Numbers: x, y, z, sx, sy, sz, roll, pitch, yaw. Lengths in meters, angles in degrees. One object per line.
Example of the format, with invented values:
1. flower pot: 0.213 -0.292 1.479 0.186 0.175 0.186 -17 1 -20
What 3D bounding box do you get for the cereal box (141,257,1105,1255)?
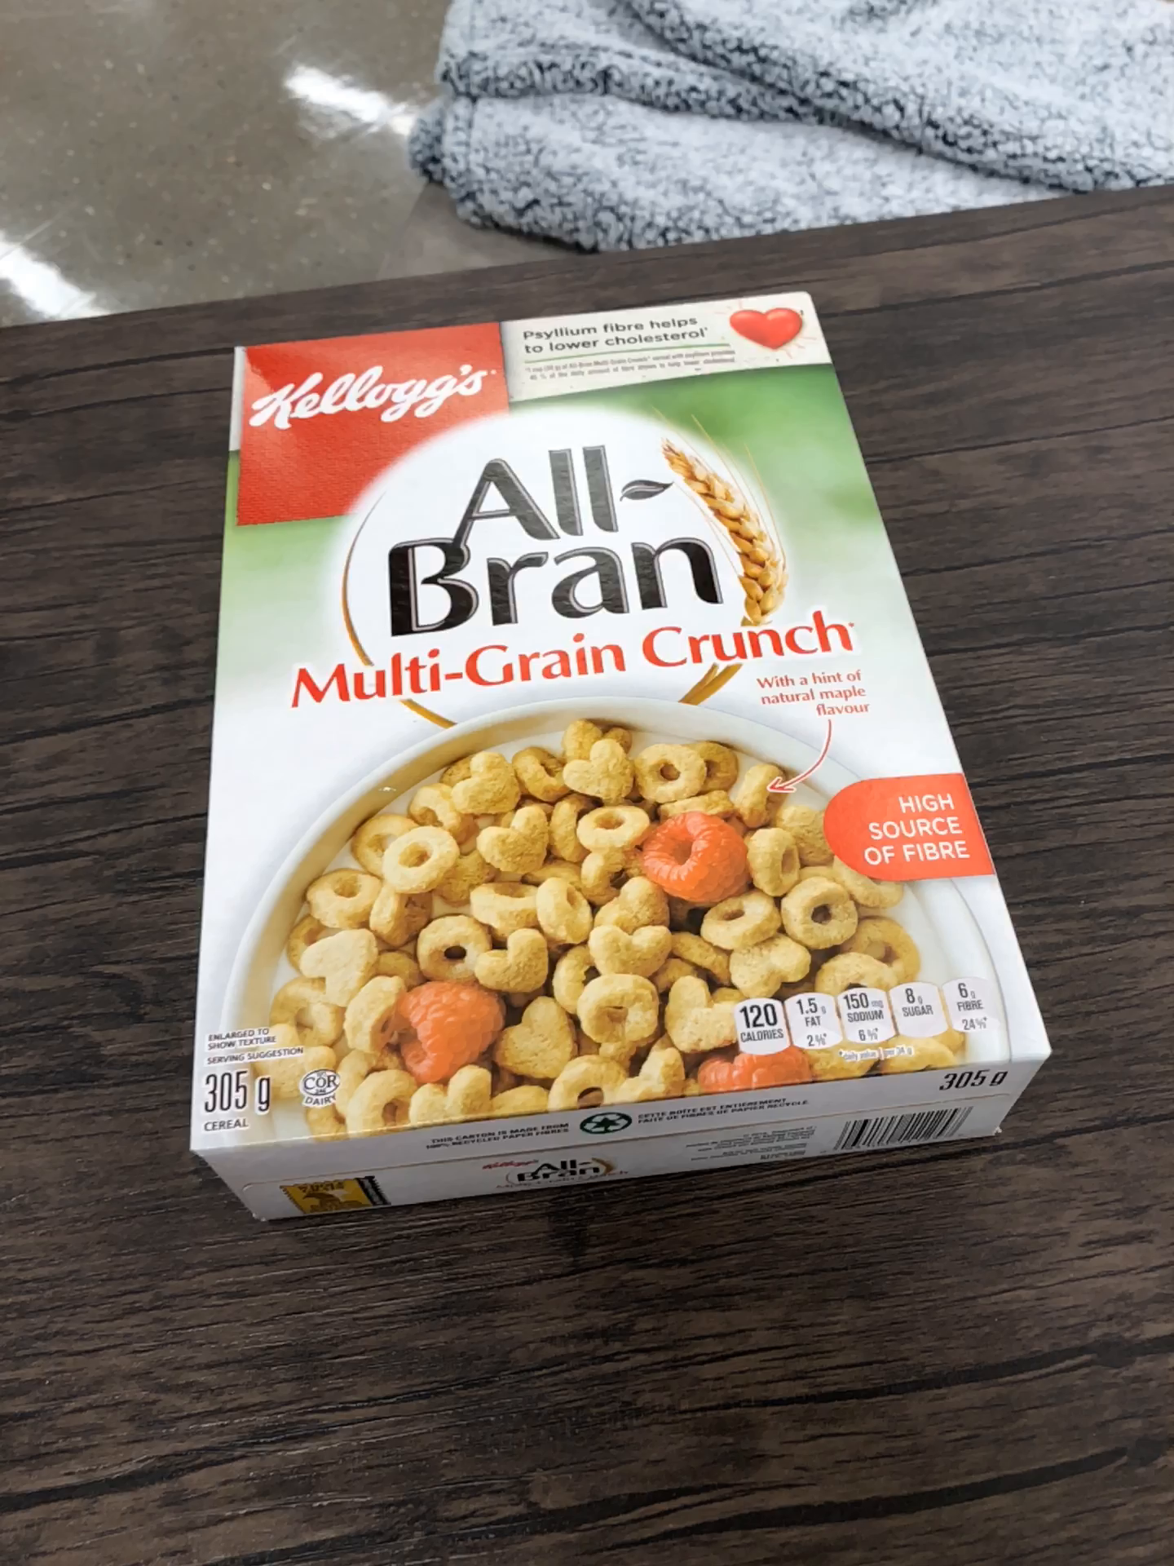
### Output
1. cereal box: -0.006 -0.032 0.397 0.210 0.070 0.300 -6 55 -2
